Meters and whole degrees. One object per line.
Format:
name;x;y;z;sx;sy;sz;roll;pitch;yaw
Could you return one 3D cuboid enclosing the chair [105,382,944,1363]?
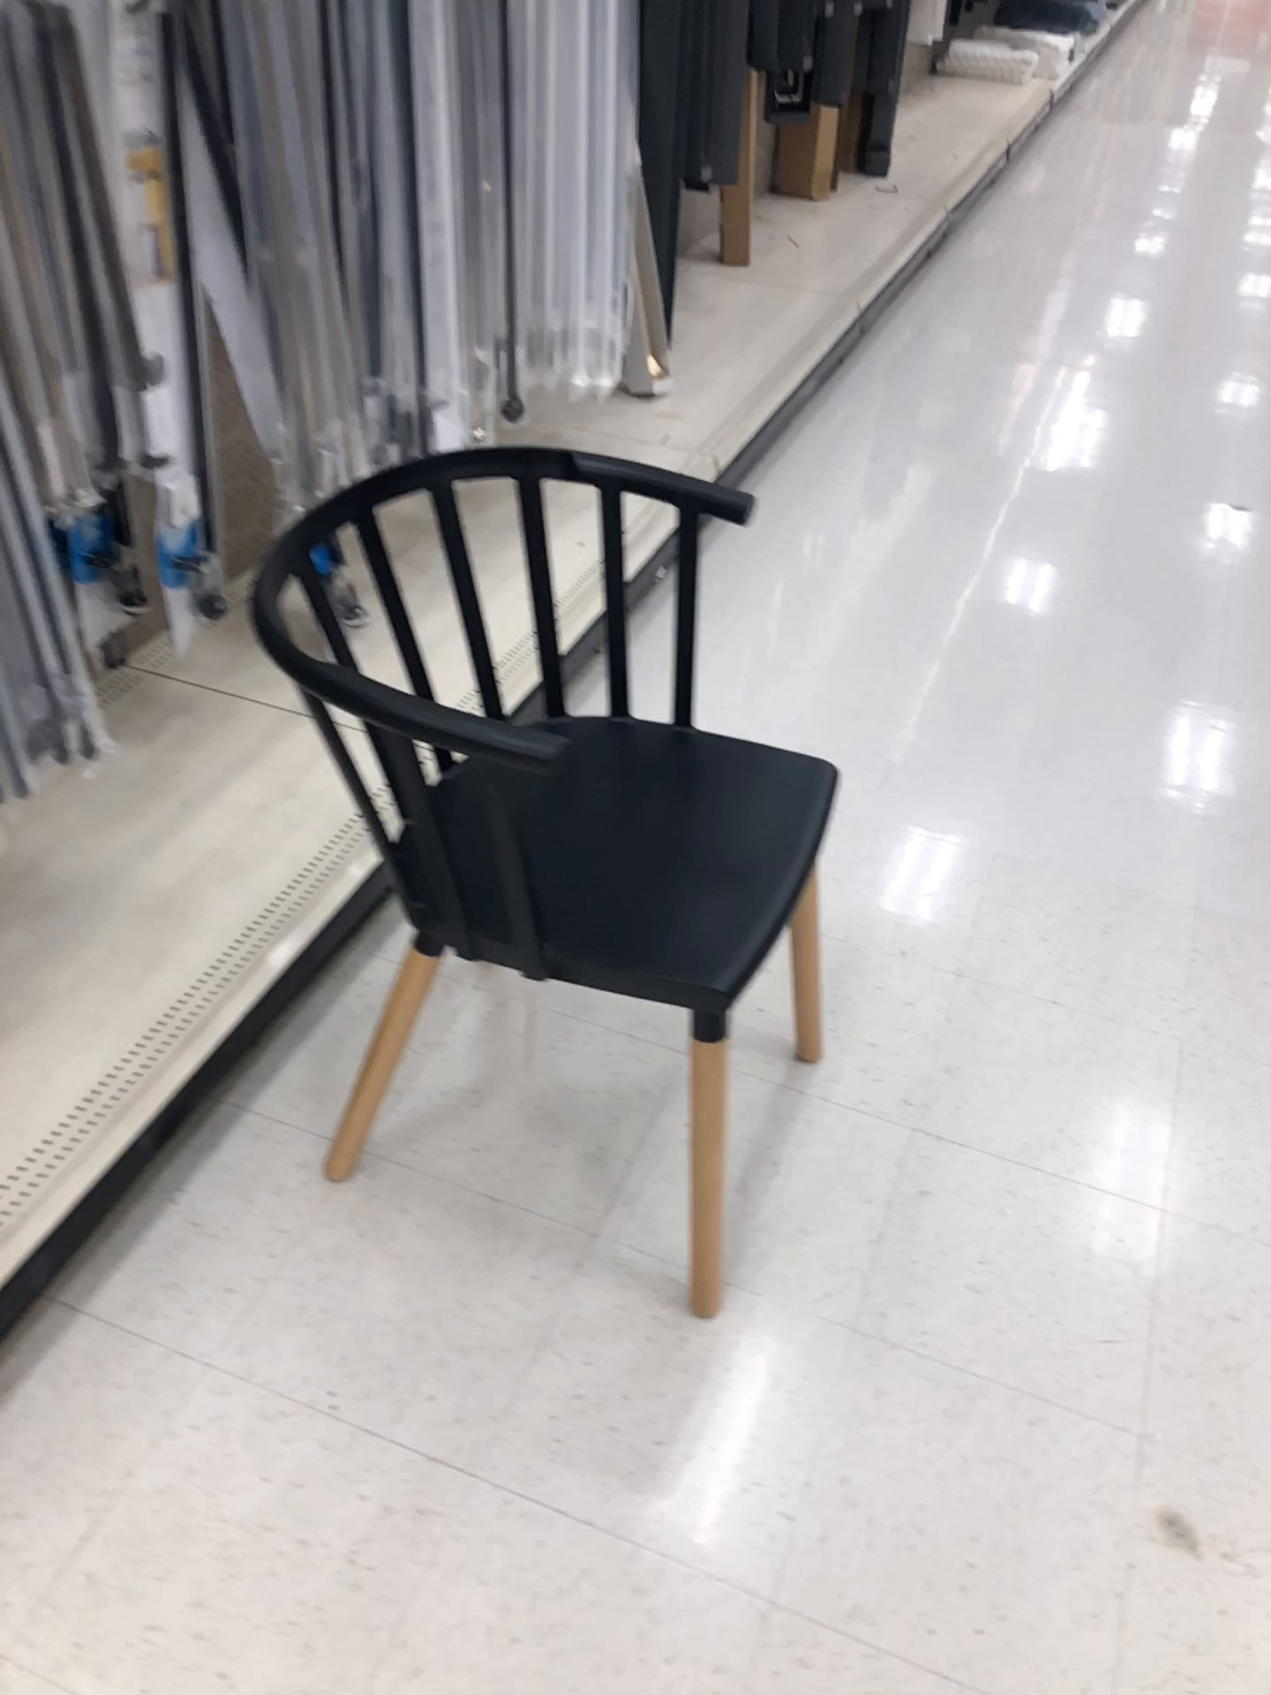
chair;-0.078;0.008;1.459;0.567;0.730;0.537;16;39;15
